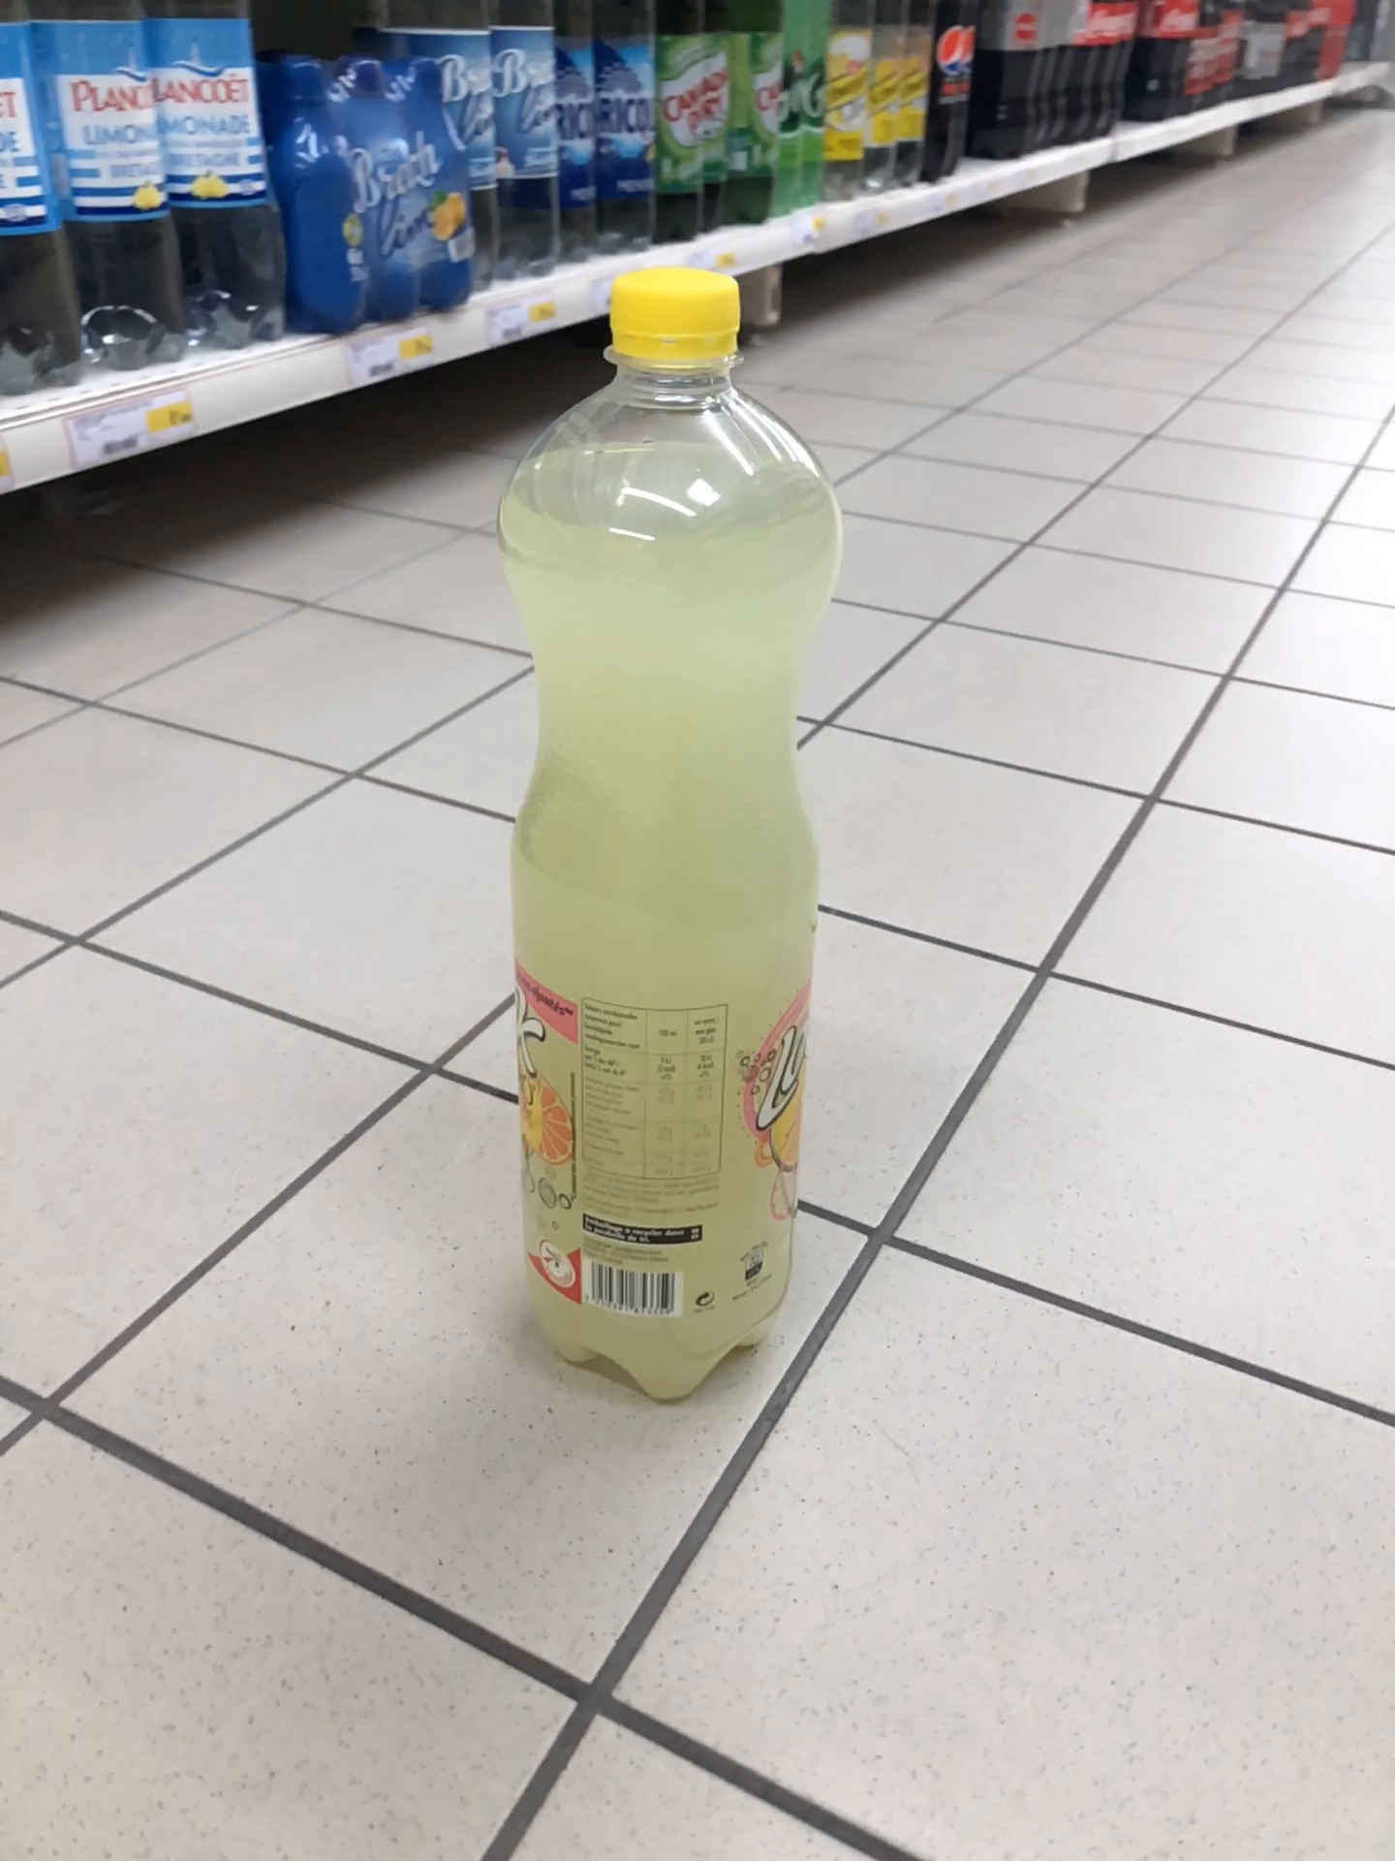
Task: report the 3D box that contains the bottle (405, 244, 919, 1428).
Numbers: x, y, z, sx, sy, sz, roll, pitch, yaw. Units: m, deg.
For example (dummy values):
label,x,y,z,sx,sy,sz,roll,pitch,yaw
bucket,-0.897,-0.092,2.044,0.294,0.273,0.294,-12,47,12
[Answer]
label,x,y,z,sx,sy,sz,roll,pitch,yaw
bottle,-0.005,-0.016,0.419,0.100,0.298,0.111,4,31,4
